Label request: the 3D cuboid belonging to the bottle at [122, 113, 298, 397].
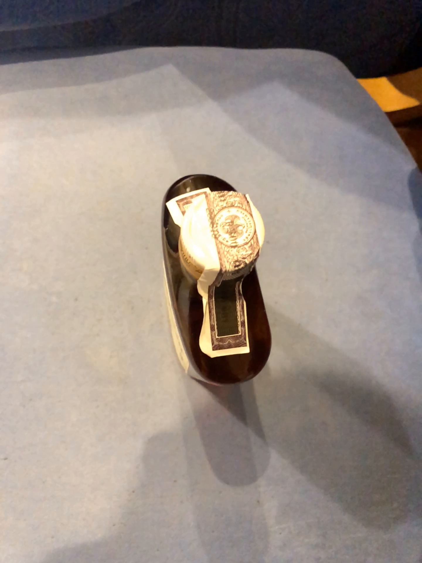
[{"bbox_3d":[-0.003,0.009,0.240,0.041,0.180,0.090,-10,77,-3],"label":"bottle"}]
